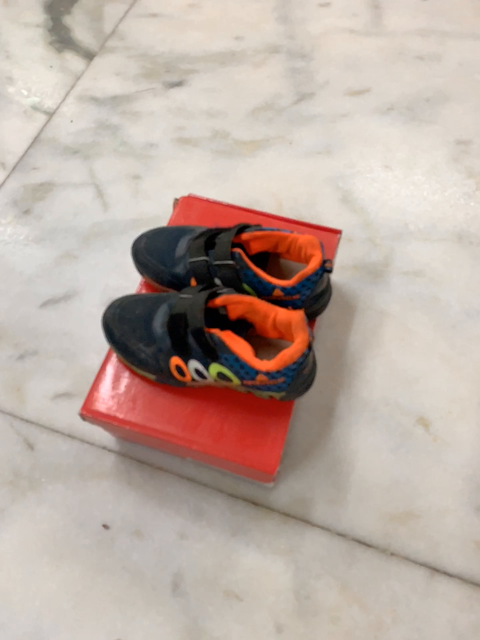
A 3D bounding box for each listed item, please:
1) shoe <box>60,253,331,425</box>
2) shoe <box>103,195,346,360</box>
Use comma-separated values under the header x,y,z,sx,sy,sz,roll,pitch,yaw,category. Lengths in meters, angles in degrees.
x,y,z,sx,sy,sz,roll,pitch,yaw,category
-0.035,0.018,0.438,0.210,0.080,0.080,14,64,9,shoe
-0.012,-0.042,0.494,0.210,0.090,0.090,13,64,9,shoe
